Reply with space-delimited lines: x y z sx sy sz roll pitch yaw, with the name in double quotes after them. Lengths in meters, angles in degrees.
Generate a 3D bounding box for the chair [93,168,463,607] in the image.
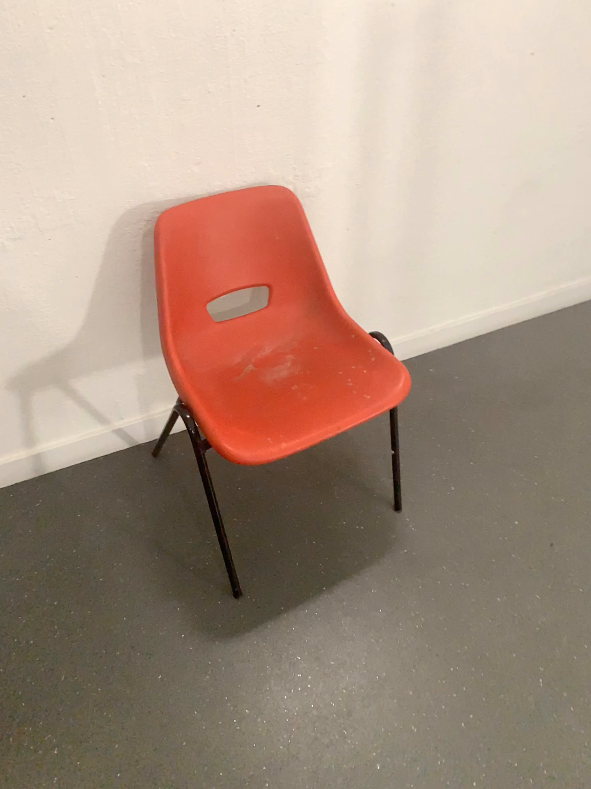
-0.063 -0.026 1.443 0.511 0.713 0.594 -22 49 -21 "chair"
